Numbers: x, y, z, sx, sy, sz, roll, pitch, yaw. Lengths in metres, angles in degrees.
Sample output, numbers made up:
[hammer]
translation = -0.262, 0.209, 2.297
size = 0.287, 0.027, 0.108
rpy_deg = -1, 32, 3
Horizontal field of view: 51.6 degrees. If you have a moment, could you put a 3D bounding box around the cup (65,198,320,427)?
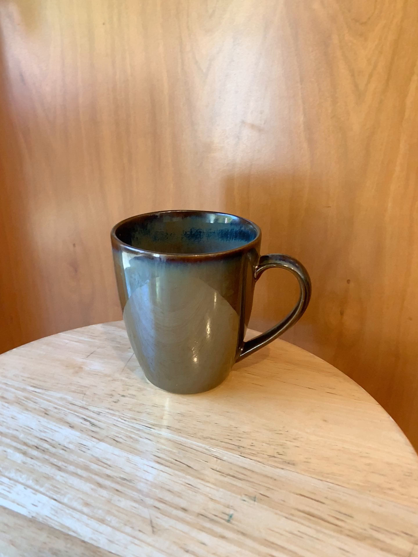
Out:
[cup]
translation = -0.006, 0.010, 0.259
size = 0.120, 0.090, 0.080
rpy_deg = 10, 25, 21
